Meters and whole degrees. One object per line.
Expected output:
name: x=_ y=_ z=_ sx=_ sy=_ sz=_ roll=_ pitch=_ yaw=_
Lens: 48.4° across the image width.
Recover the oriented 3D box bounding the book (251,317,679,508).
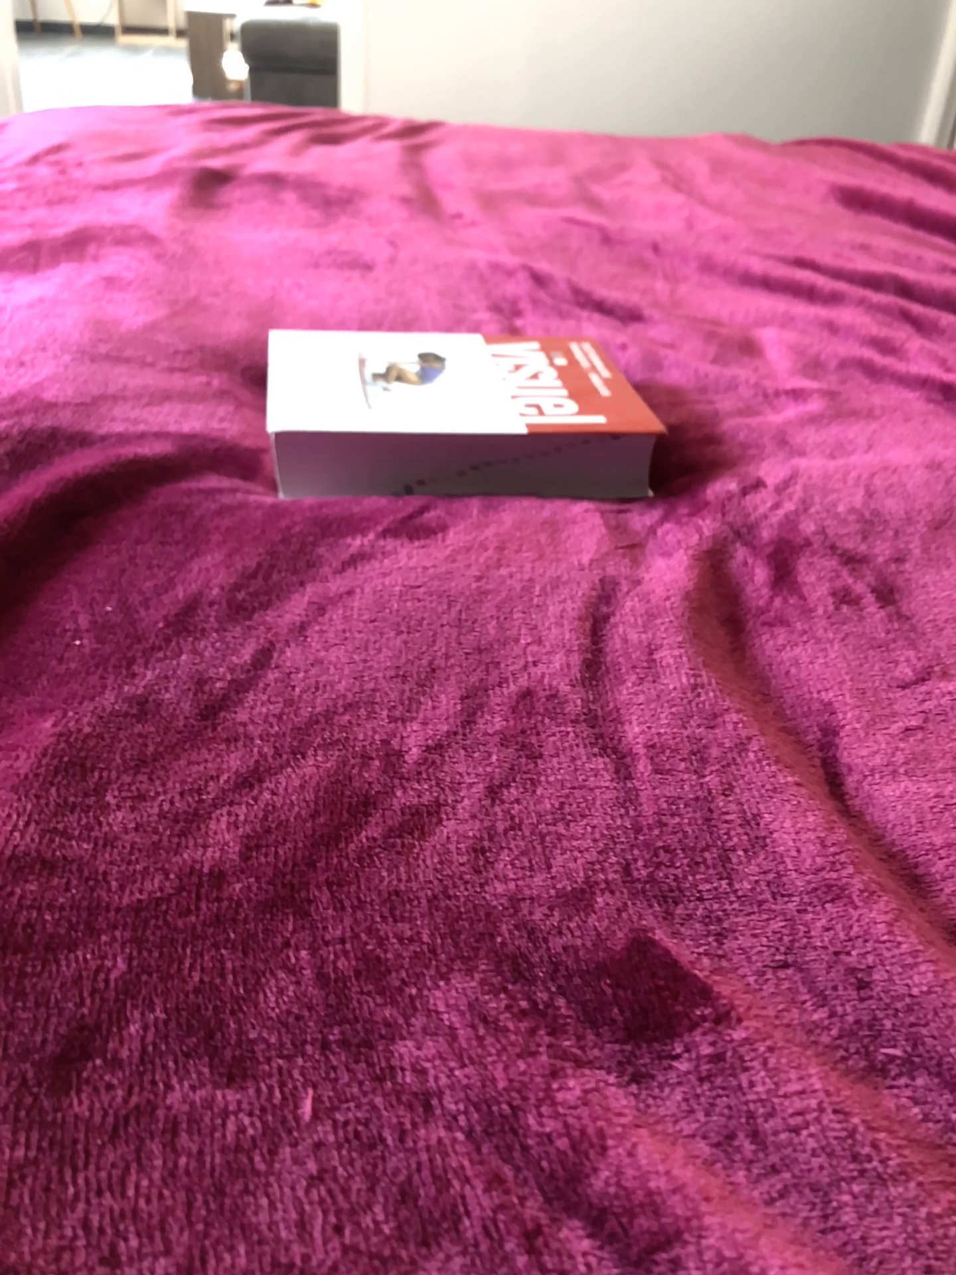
book: x=-0.014 y=-0.111 z=0.511 sx=0.180 sy=0.039 sz=0.141 roll=-1 pitch=33 yaw=-9
